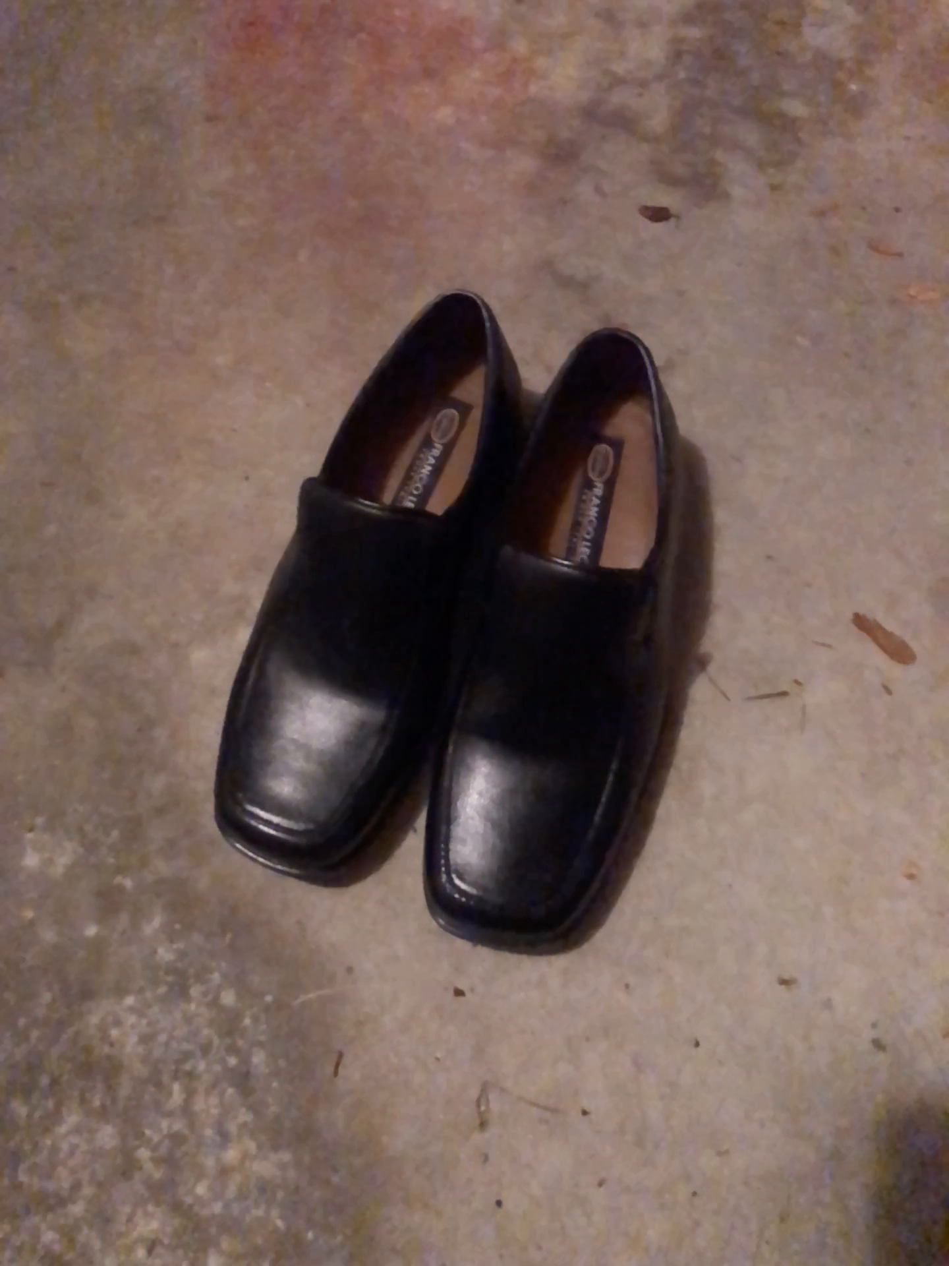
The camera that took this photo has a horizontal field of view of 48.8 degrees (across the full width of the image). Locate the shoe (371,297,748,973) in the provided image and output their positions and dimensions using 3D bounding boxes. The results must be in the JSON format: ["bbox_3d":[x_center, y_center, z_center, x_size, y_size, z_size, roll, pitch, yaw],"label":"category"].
[{"bbox_3d":[0.044,0.001,0.473,0.104,0.113,0.269,11,69,7],"label":"shoe"}]

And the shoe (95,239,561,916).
[{"bbox_3d":[-0.050,-0.027,0.489,0.101,0.113,0.279,16,70,9],"label":"shoe"}]
